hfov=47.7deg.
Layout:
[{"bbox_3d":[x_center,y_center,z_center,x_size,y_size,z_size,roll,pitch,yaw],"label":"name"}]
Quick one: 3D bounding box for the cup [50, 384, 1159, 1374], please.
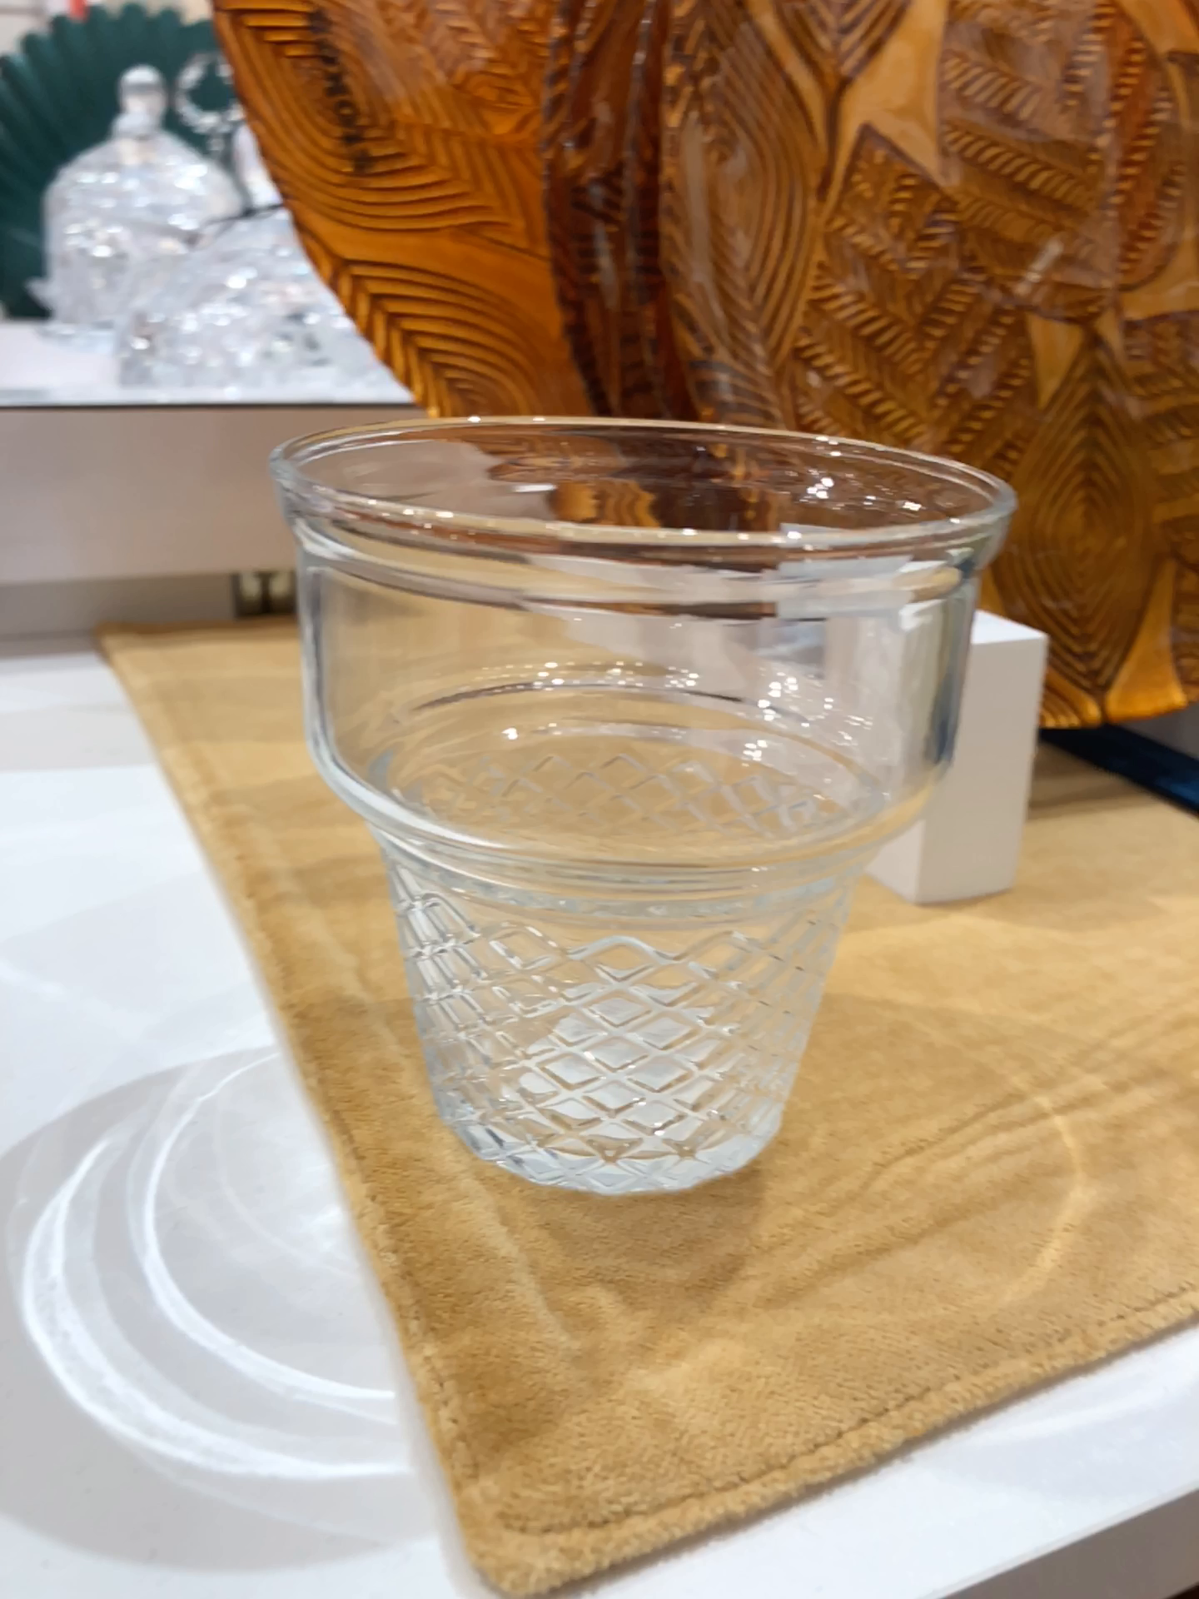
[{"bbox_3d":[0.000,-0.006,0.150,0.080,0.070,0.080,1,20,-1],"label":"cup"}]
